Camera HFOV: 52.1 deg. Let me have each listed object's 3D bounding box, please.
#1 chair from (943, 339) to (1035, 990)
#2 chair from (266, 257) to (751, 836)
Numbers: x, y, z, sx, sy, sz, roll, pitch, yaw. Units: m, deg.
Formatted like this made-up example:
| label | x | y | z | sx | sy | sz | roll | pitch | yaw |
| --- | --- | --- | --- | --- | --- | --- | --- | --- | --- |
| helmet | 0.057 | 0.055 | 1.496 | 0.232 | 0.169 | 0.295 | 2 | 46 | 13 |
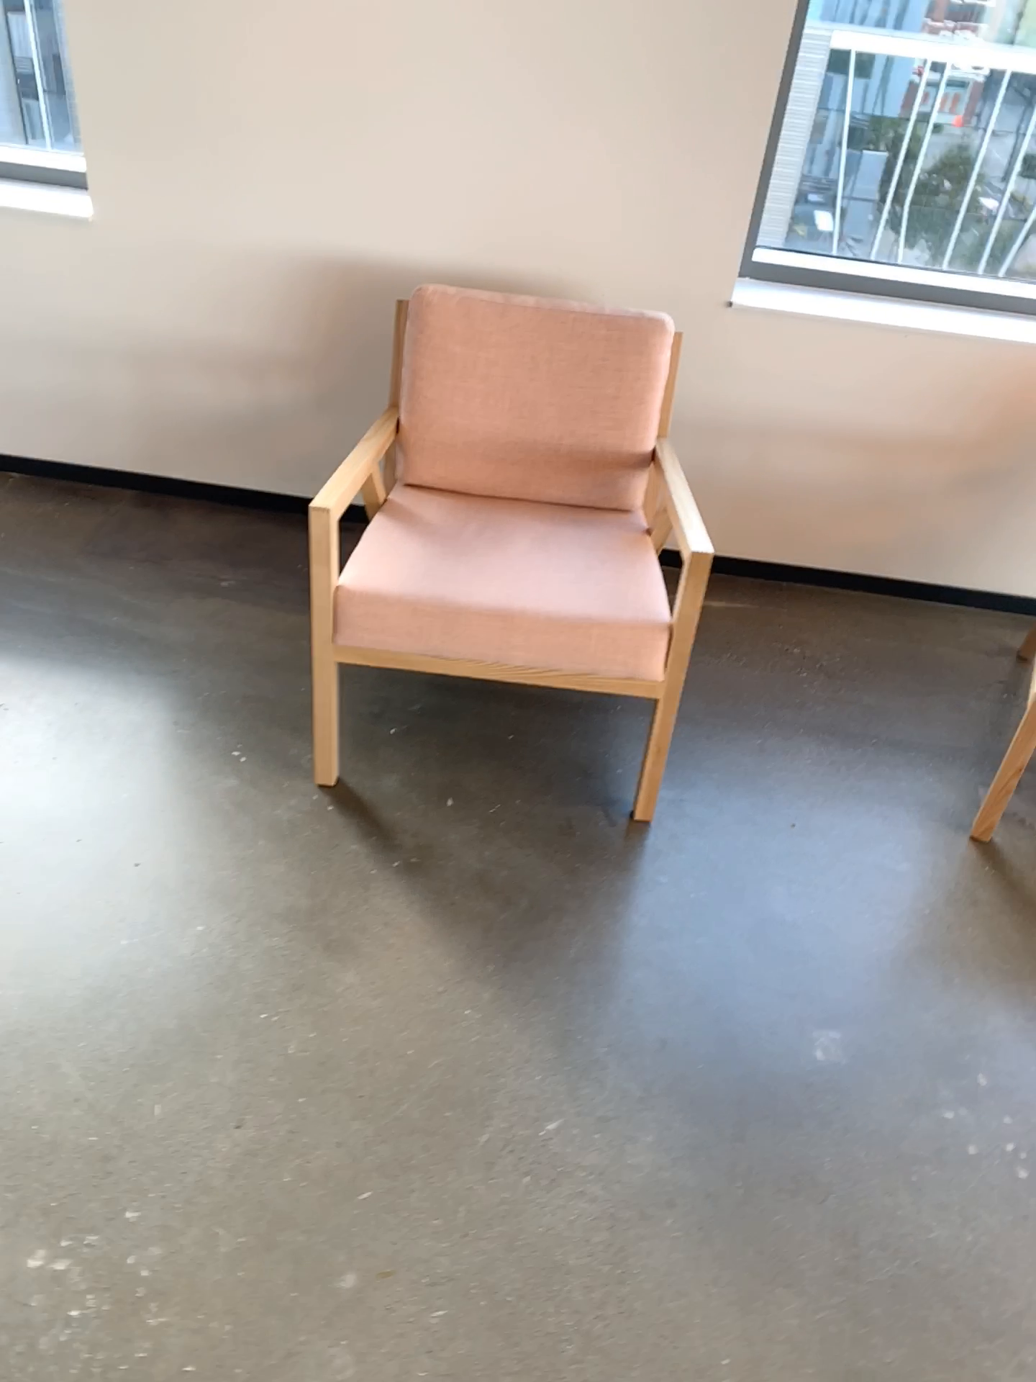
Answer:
| label | x | y | z | sx | sy | sz | roll | pitch | yaw |
| --- | --- | --- | --- | --- | --- | --- | --- | --- | --- |
| chair | 1.390 | -0.104 | 2.059 | 0.741 | 0.795 | 0.773 | 21 | 38 | 18 |
| chair | -0.014 | -0.313 | 2.148 | 0.740 | 0.795 | 0.775 | 8 | 38 | 1 |
